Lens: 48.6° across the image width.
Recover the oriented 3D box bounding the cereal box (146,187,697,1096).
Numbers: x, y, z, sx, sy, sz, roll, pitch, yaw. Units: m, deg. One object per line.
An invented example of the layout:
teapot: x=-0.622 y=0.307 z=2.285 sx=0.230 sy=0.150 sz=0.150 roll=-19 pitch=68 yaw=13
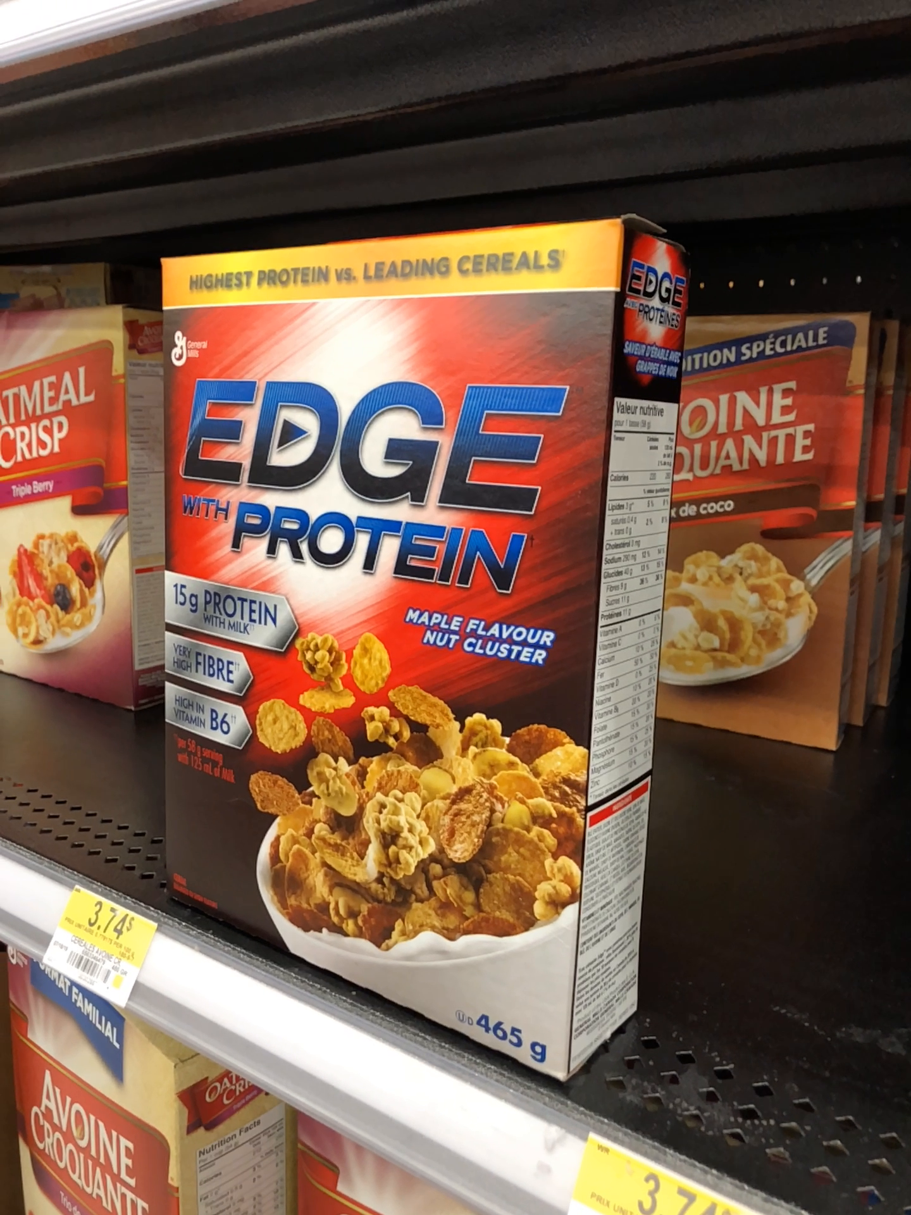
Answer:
cereal box: x=-0.027 y=0.002 z=0.375 sx=0.200 sy=0.269 sz=0.060 roll=10 pitch=12 yaw=36
